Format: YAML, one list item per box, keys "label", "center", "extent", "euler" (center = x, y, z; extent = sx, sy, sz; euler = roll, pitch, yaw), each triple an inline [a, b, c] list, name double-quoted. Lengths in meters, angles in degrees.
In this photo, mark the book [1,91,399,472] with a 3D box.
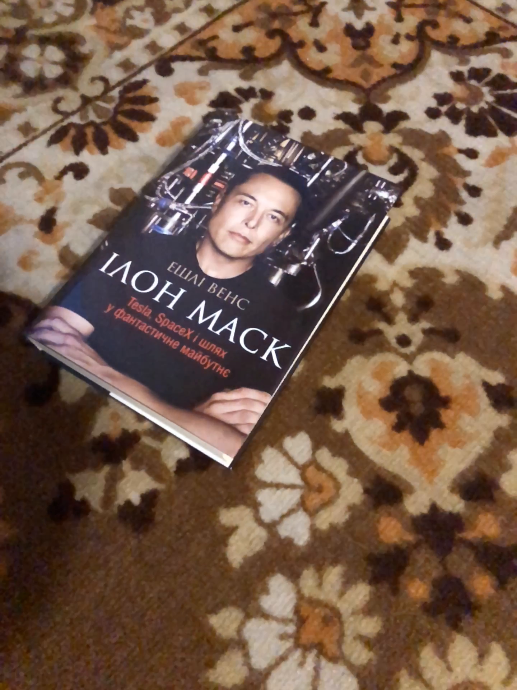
- label: "book"
  center: [-0.034, -0.063, 0.438]
  extent: [0.184, 0.050, 0.251]
  euler: [28, 69, 12]
